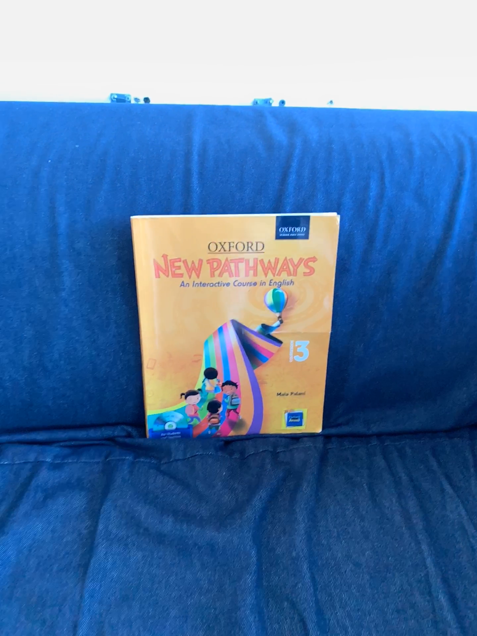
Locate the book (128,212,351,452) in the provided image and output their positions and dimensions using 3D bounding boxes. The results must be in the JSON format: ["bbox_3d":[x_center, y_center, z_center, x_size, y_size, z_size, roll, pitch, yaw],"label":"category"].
[{"bbox_3d":[-0.001,0.023,0.567,0.230,0.283,0.030,-1,21,-6],"label":"book"}]
